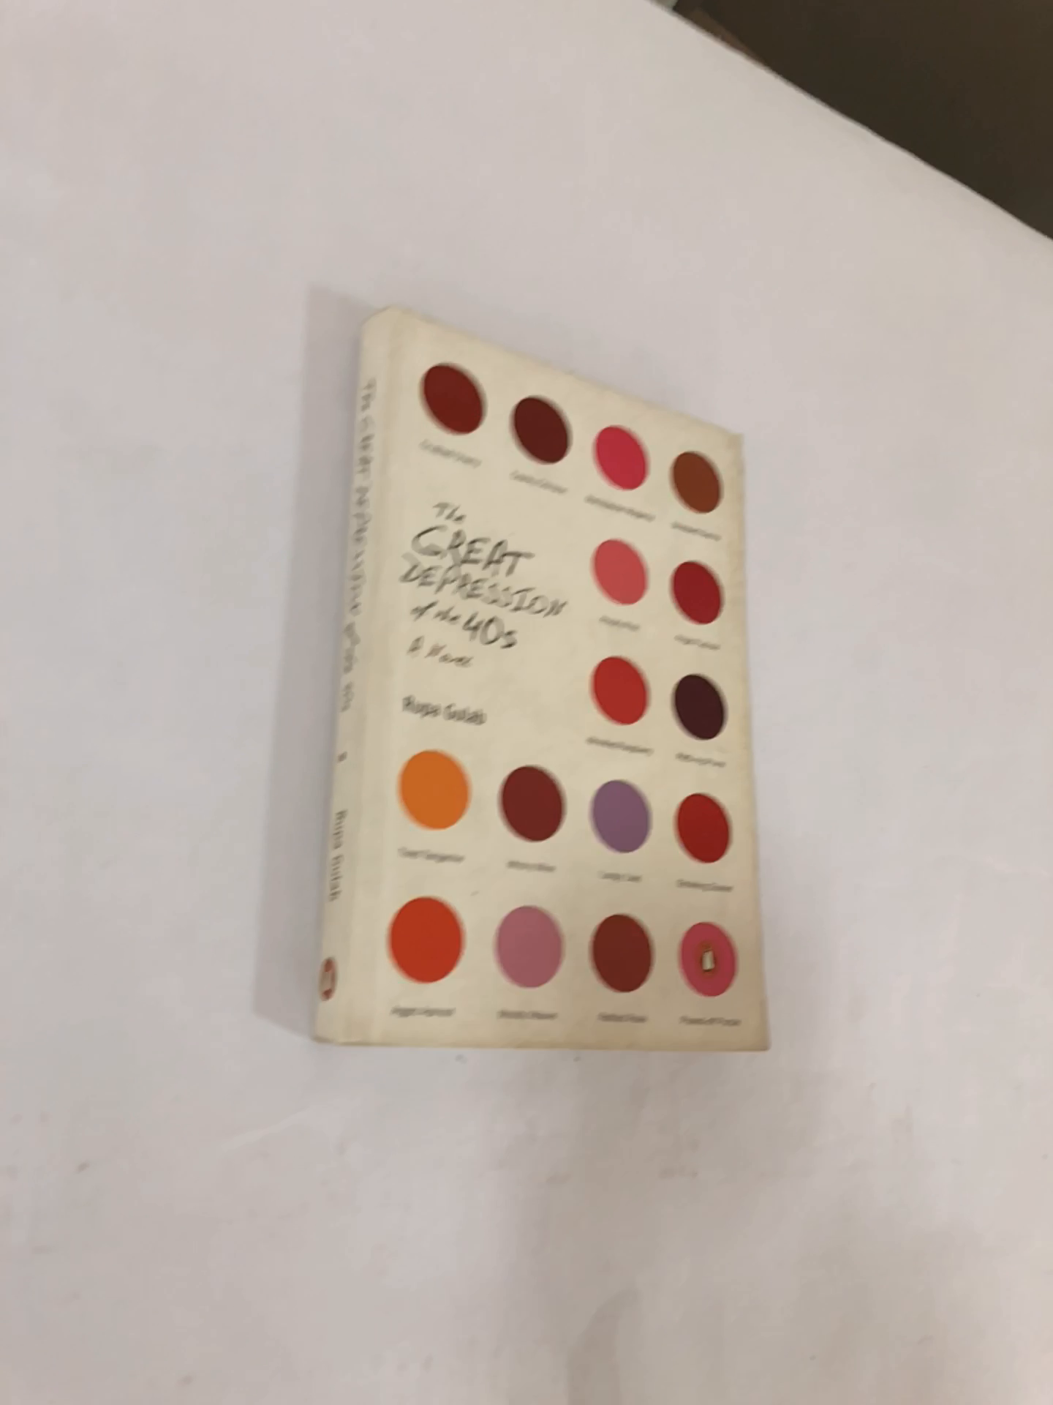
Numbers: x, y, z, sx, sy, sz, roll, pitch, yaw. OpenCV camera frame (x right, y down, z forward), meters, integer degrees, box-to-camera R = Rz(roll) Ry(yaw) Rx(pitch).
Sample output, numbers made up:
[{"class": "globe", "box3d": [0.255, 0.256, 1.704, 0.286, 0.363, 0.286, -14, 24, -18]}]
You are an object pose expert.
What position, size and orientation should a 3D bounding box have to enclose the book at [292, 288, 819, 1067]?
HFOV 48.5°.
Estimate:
[{"class": "book", "box3d": [0.014, 0.000, 0.321, 0.140, 0.030, 0.190, 11, 71, -31]}]
